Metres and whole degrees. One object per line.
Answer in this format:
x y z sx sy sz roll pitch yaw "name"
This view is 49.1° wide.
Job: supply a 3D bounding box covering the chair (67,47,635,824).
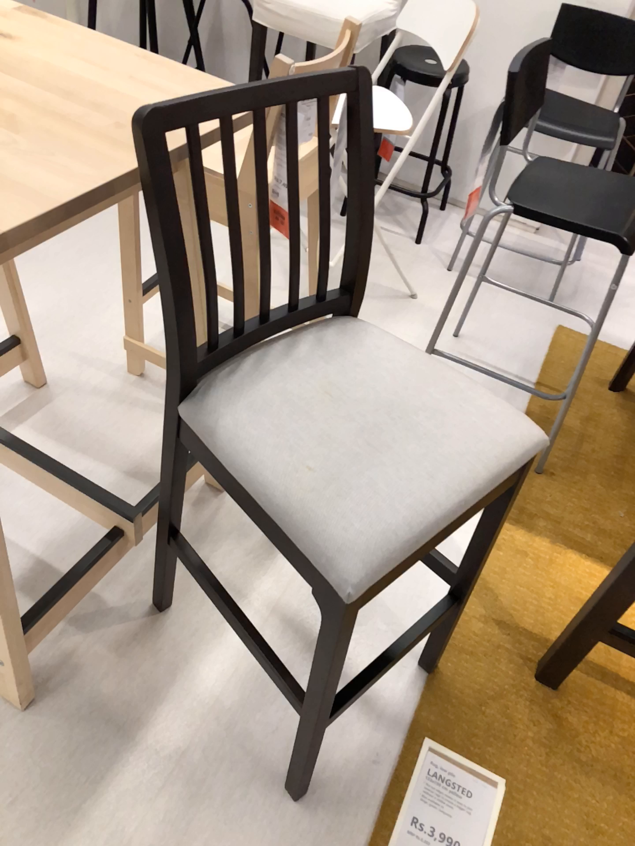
0.018 0.093 1.148 0.482 1.093 0.562 -30 58 -33 "chair"
